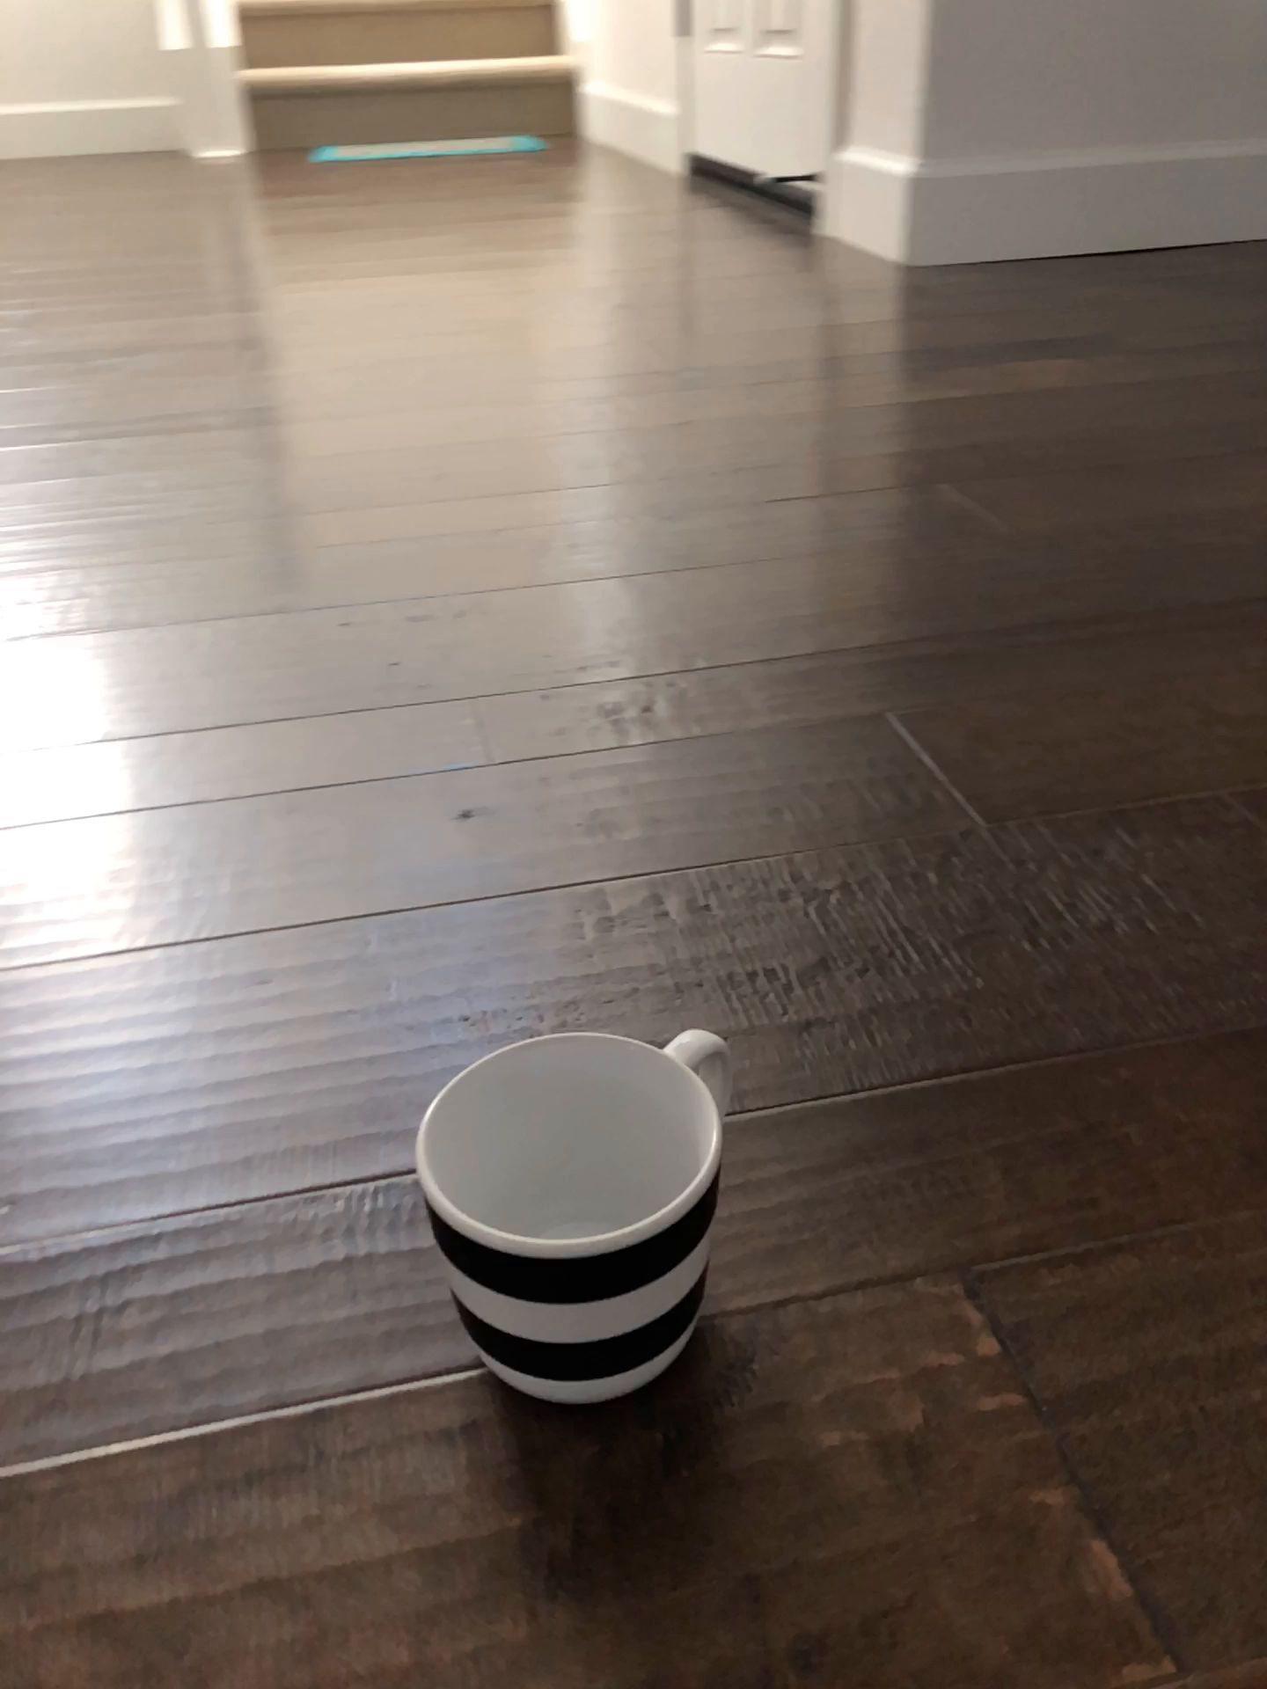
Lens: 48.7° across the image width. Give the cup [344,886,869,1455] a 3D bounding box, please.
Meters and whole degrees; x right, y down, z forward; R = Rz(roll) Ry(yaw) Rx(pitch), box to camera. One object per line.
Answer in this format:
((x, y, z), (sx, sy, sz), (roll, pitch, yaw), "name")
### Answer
((-0.004, 0.086, 0.410), (0.090, 0.079, 0.121), (21, 38, 34), "cup")
